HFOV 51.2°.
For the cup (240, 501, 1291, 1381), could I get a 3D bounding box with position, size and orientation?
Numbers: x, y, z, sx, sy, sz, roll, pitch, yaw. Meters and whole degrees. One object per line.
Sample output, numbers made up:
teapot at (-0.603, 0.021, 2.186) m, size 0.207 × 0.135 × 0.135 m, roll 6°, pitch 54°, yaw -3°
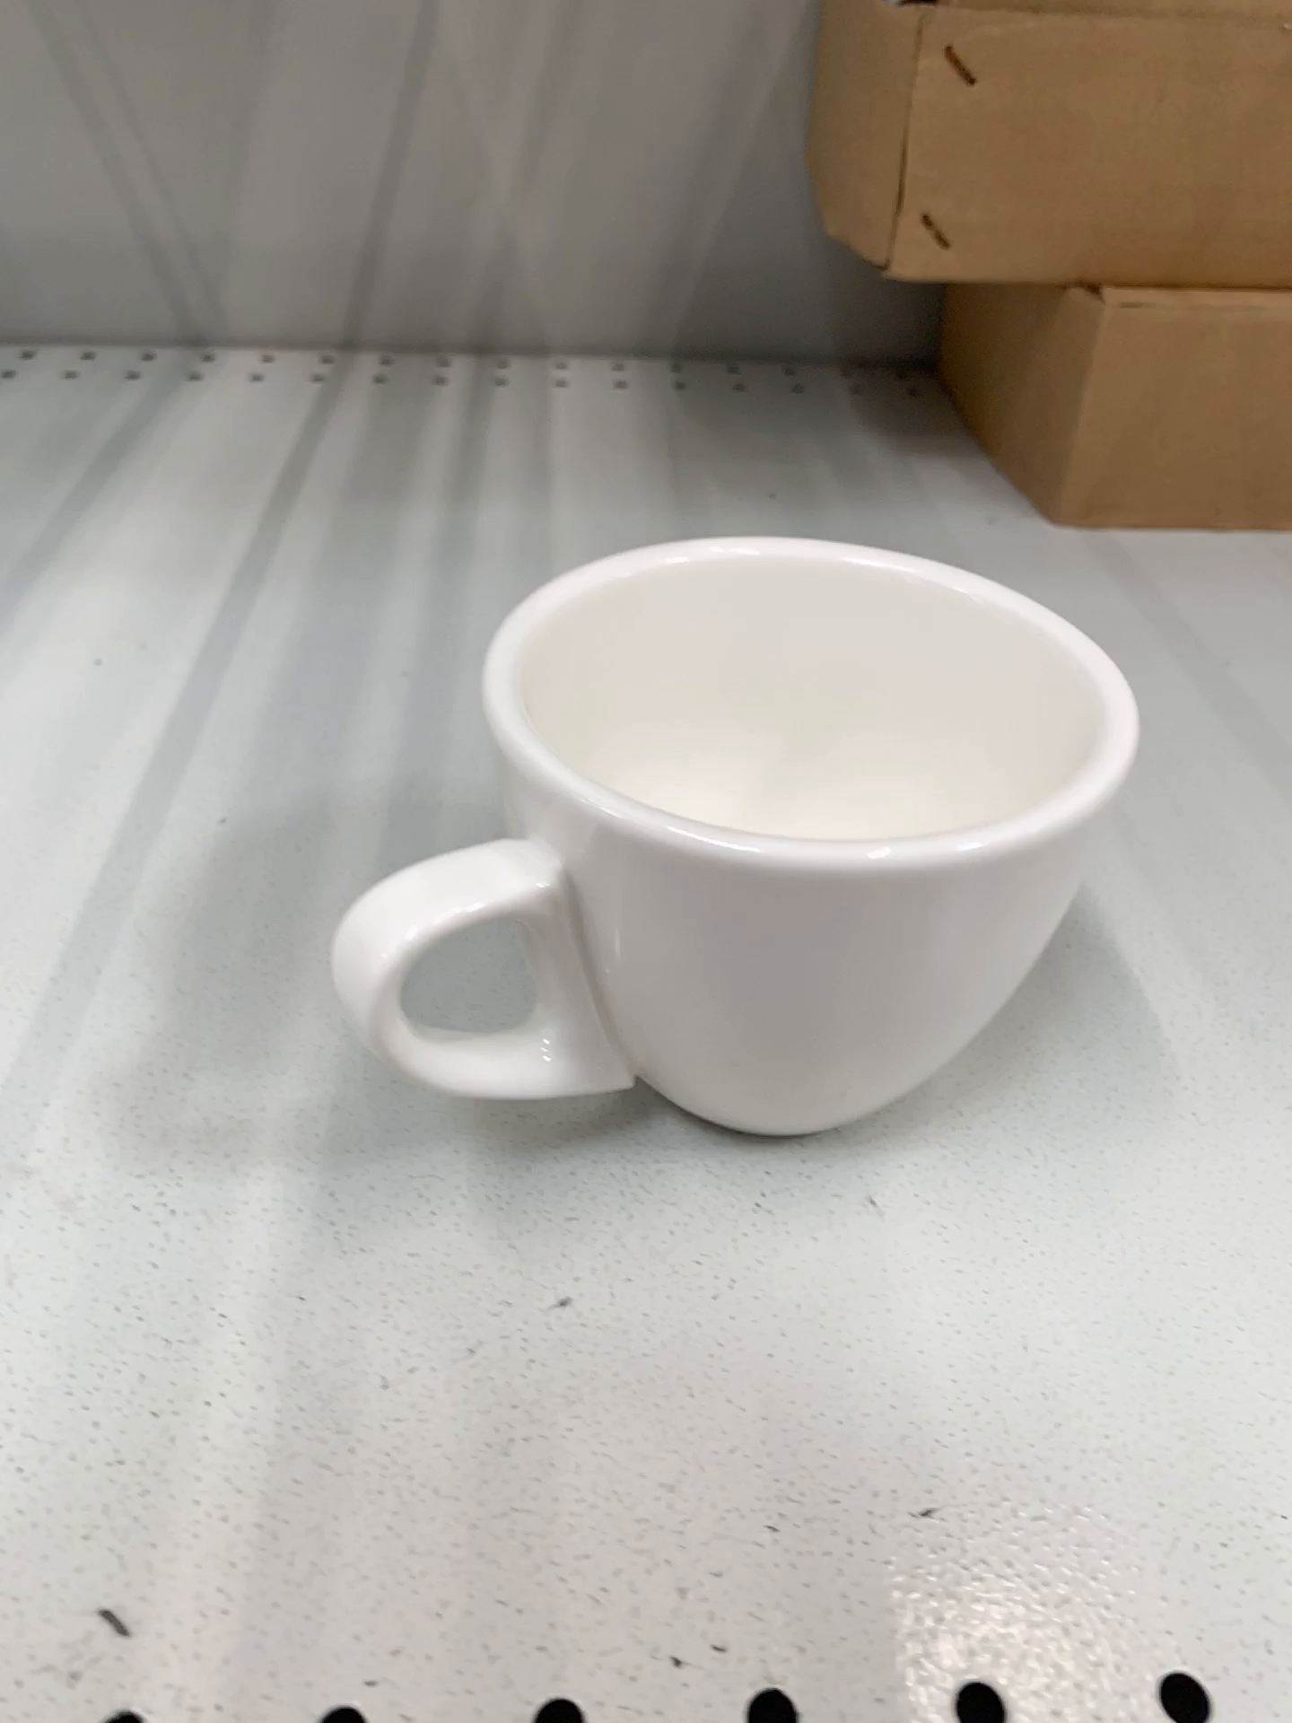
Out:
cup at (0.015, 0.000, 0.226) m, size 0.128 × 0.072 × 0.096 m, roll -17°, pitch 40°, yaw -26°
